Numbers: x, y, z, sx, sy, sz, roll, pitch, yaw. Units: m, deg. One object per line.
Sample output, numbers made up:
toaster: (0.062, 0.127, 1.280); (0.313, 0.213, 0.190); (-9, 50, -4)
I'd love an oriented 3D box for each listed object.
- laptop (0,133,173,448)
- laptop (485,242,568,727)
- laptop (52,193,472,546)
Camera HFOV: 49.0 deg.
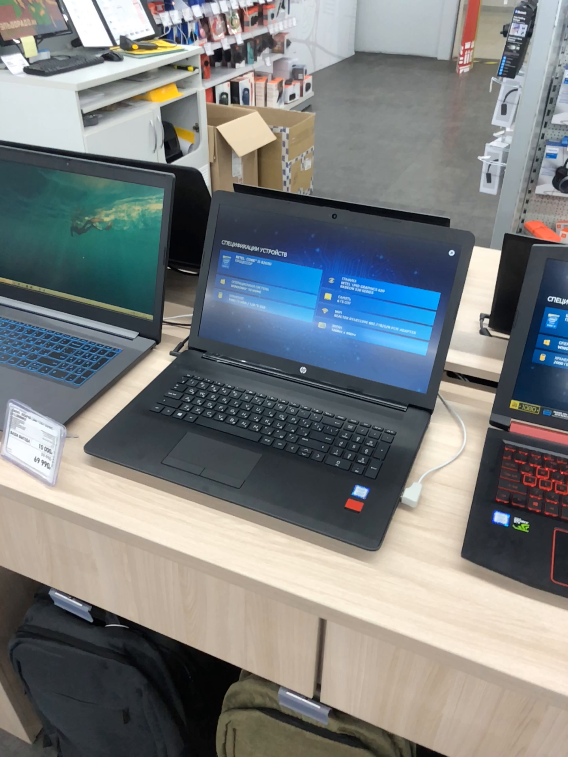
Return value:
laptop: (-0.426, -0.167, 0.947); (0.380, 0.226, 0.374); (15, 39, 15)
laptop: (0.443, 0.066, 0.656); (0.403, 0.224, 0.304); (13, 40, 17)
laptop: (-0.001, -0.051, 0.823); (0.388, 0.213, 0.374); (15, 39, 18)
